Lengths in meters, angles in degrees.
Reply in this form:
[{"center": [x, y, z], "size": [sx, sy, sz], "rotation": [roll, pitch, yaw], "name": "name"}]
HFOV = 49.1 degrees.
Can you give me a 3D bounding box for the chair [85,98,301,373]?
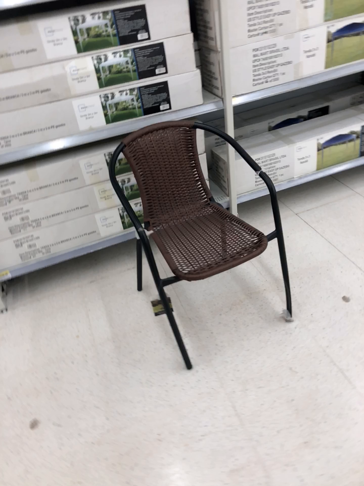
[{"center": [0.049, -0.050, 1.452], "size": [0.481, 0.714, 0.533], "rotation": [-23, 38, -18], "name": "chair"}]
